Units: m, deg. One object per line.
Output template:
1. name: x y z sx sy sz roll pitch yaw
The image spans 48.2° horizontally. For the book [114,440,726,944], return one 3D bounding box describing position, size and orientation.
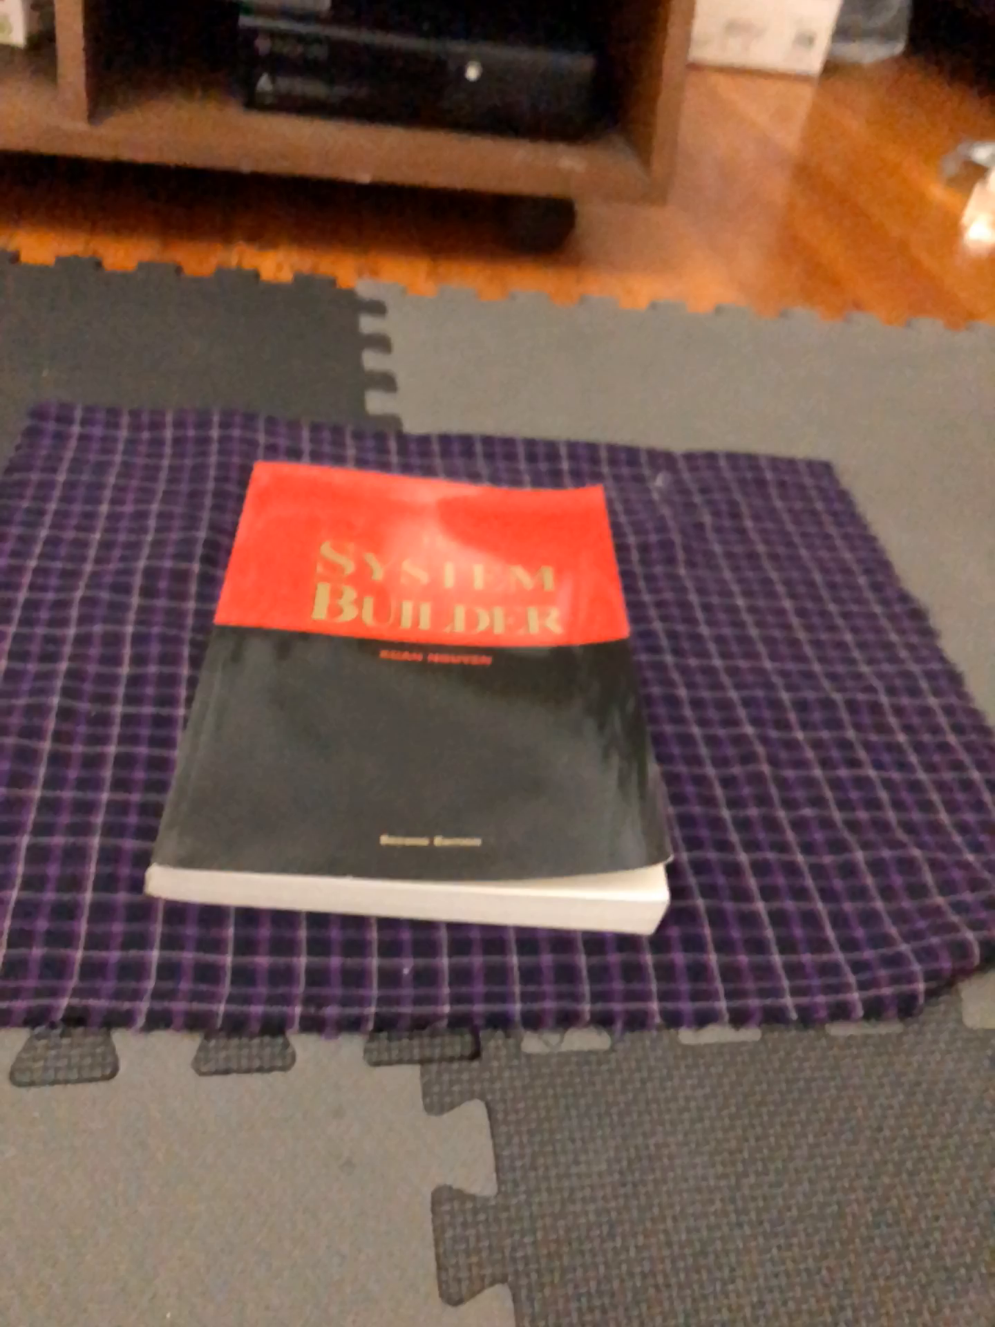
1. book: -0.028 -0.006 0.471 0.200 0.030 0.261 5 41 -6
